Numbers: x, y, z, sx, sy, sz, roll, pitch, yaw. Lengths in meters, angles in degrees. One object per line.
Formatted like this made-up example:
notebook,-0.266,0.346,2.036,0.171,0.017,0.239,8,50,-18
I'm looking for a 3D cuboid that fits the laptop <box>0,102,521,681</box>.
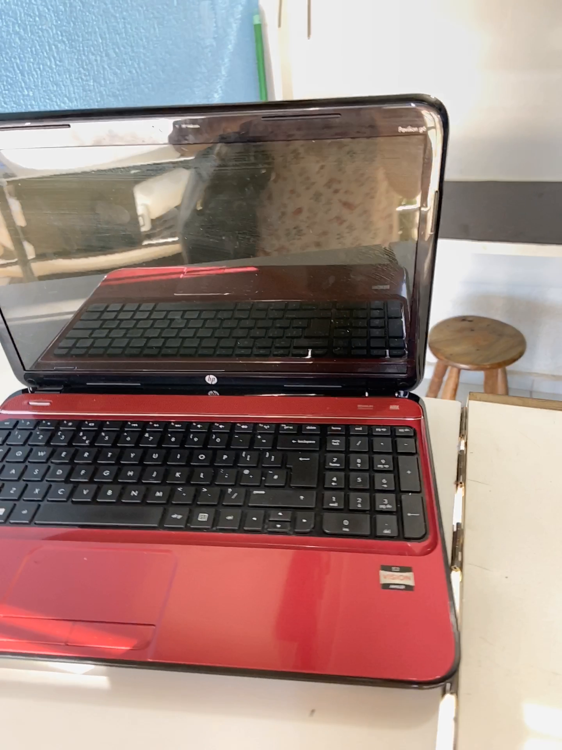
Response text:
laptop,-0.086,-0.007,0.344,0.356,0.220,0.228,0,35,8
